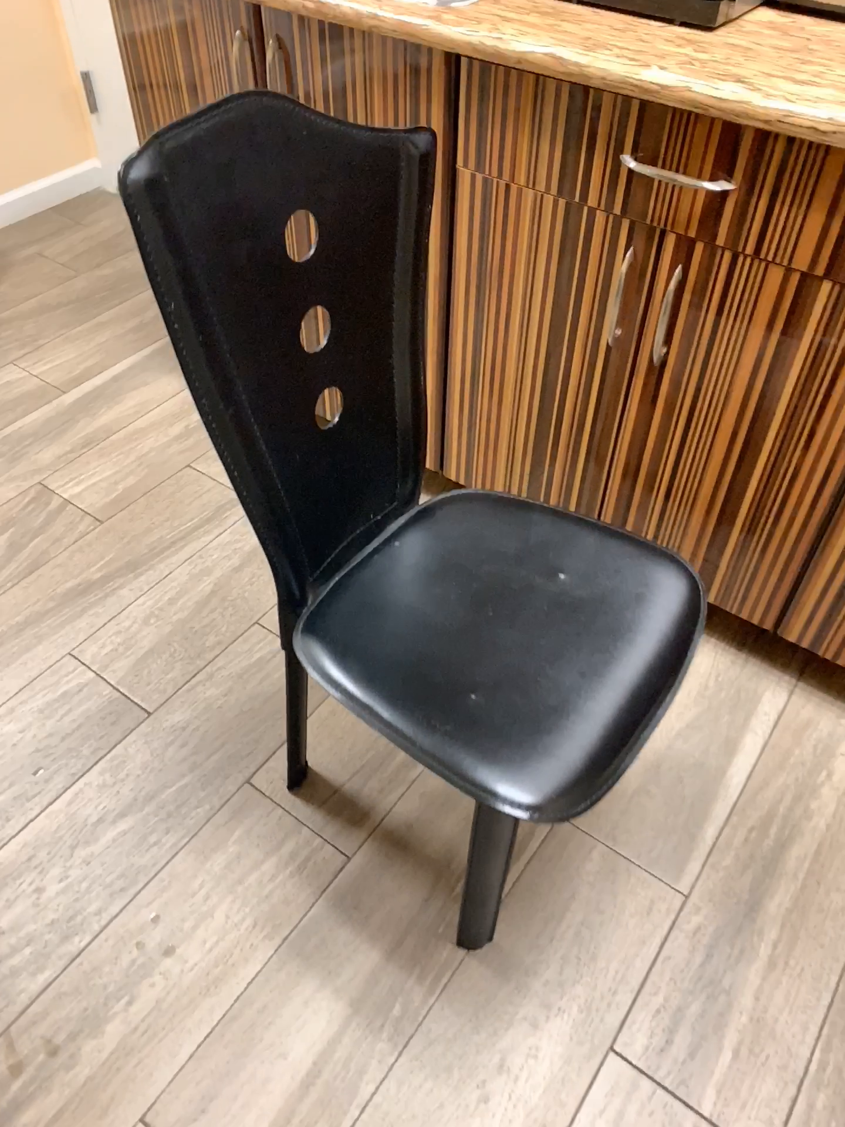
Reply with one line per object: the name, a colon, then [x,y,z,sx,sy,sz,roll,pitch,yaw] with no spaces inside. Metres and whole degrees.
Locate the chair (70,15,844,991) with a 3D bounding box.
chair: [0.063,-0.003,1.002,0.474,0.941,0.463,29,52,23]
